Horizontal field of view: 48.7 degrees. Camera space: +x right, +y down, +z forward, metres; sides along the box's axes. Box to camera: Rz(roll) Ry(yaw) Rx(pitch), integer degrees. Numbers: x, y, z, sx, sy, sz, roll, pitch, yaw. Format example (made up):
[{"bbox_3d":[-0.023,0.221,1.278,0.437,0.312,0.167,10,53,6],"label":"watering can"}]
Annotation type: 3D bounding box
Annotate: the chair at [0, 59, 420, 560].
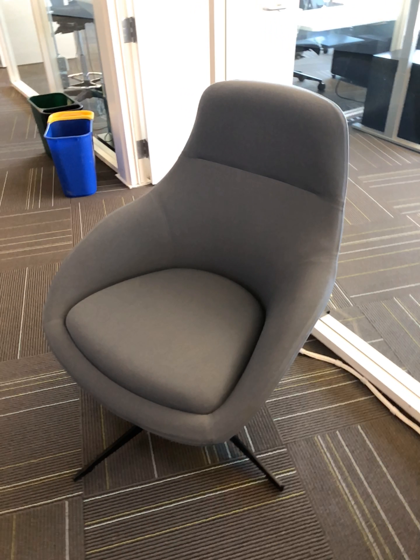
[{"bbox_3d":[-0.068,0.025,1.385,0.933,0.995,0.962,27,45,33],"label":"chair"}]
